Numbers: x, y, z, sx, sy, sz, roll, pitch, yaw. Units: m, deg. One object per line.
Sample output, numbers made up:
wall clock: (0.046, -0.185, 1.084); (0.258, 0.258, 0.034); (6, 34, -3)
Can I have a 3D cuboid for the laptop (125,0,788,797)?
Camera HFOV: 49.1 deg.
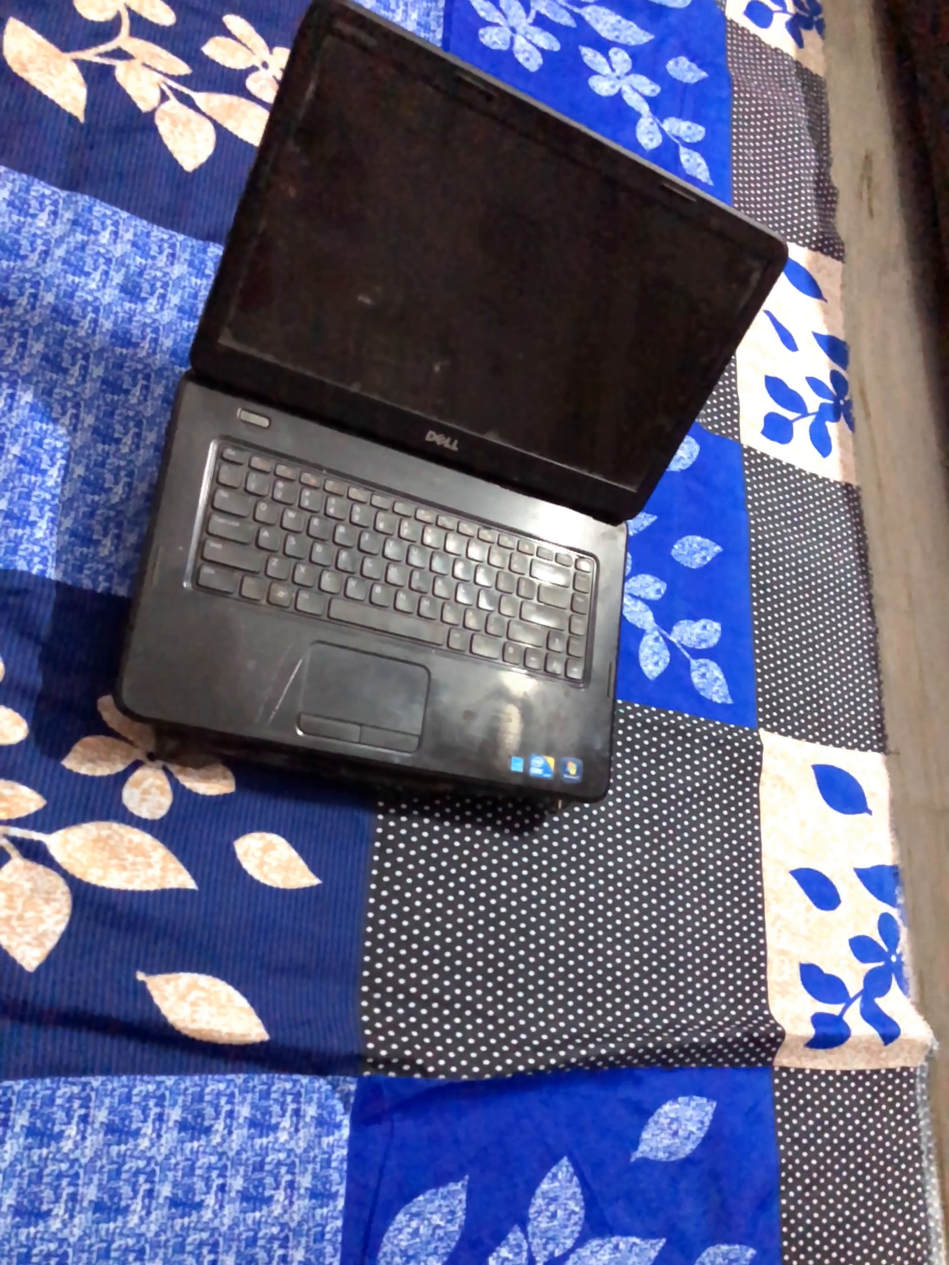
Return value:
laptop: (0.010, -0.121, 0.698); (0.364, 0.186, 0.389); (14, 69, -28)
